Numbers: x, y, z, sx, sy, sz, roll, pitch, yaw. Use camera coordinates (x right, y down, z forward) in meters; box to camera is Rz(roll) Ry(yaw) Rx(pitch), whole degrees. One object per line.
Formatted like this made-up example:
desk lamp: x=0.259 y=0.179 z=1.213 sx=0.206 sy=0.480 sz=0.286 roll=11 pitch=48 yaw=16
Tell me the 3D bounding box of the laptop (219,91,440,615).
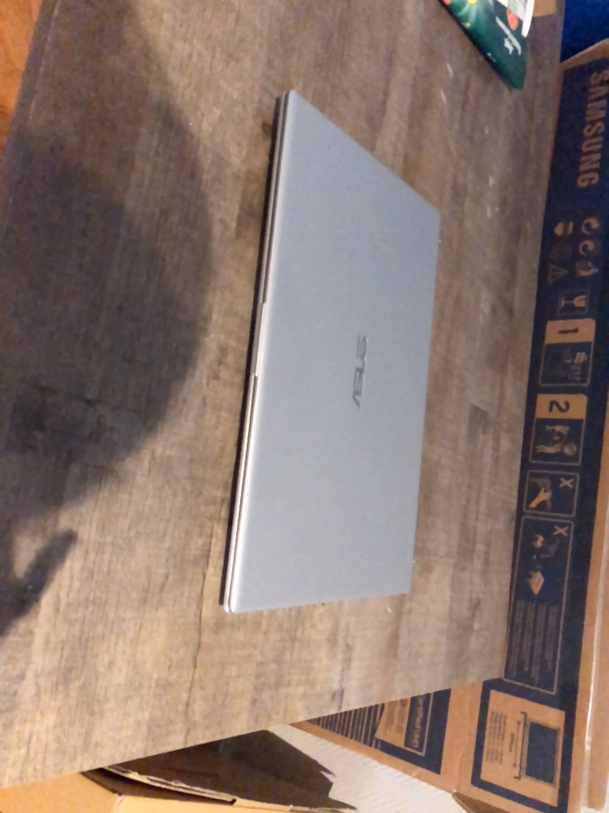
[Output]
laptop: x=0.037 y=-0.025 z=0.535 sx=0.229 sy=0.013 sz=0.353 roll=13 pitch=80 yaw=-51
